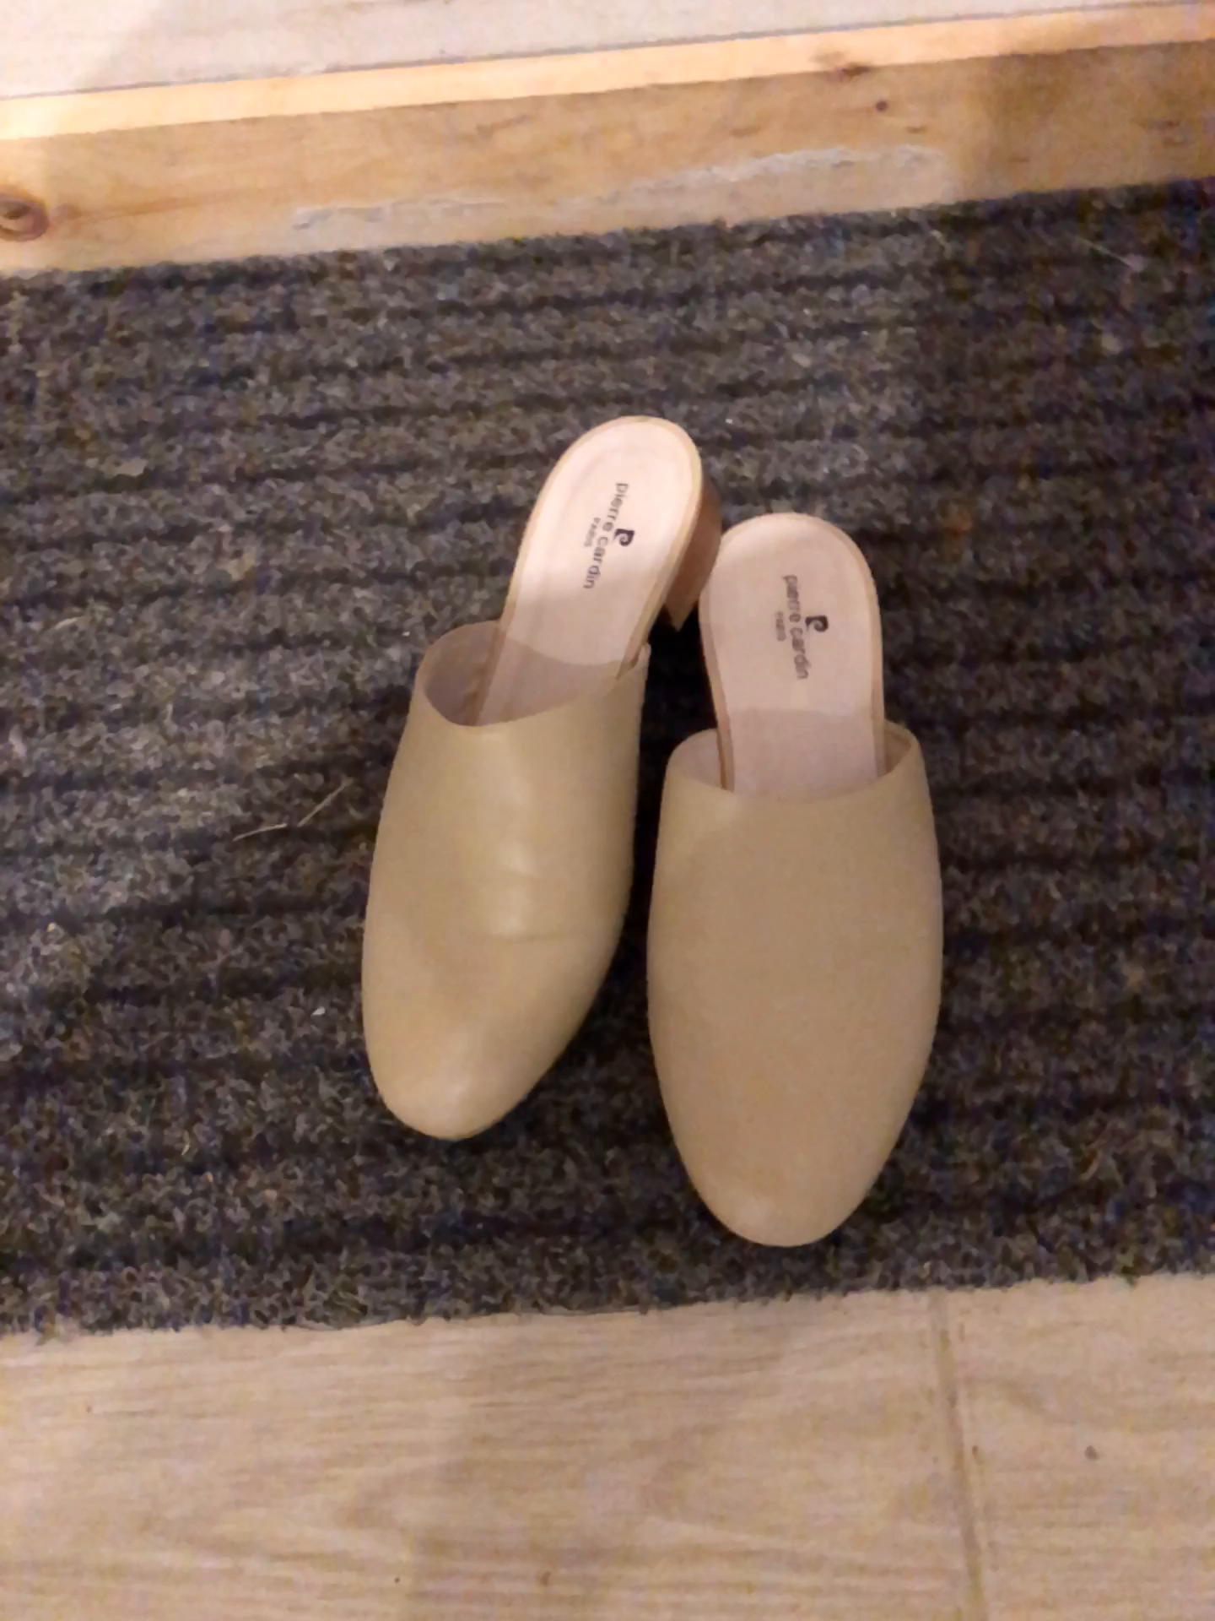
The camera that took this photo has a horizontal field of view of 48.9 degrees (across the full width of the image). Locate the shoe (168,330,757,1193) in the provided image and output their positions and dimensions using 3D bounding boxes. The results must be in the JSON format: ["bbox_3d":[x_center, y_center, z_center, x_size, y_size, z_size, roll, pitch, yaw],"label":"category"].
[{"bbox_3d":[-0.030,-0.024,0.413,0.090,0.070,0.251,14,65,10],"label":"shoe"}]

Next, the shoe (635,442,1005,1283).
[{"bbox_3d":[0.063,0.007,0.415,0.090,0.070,0.251,2,64,5],"label":"shoe"}]
